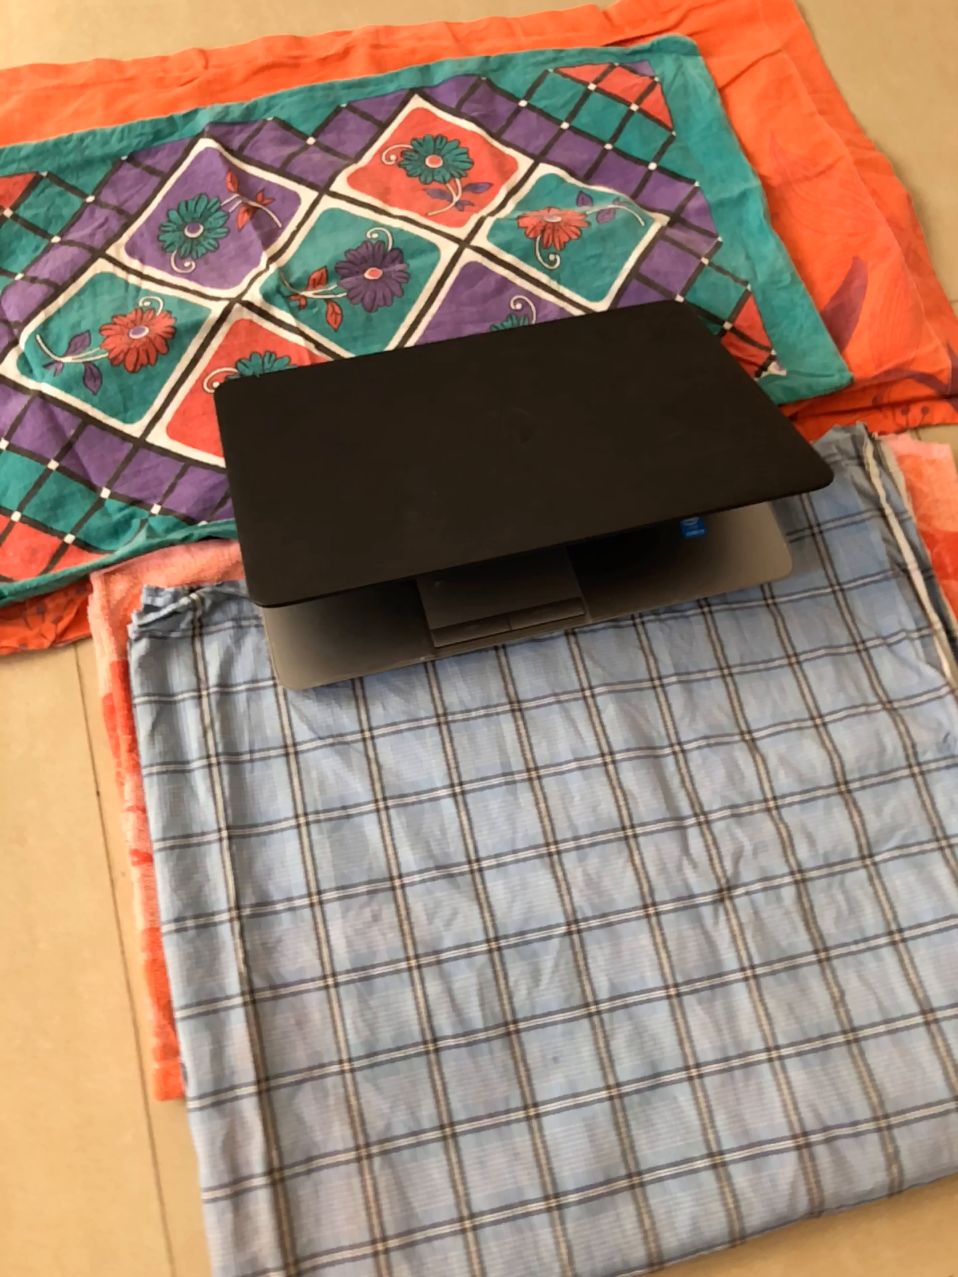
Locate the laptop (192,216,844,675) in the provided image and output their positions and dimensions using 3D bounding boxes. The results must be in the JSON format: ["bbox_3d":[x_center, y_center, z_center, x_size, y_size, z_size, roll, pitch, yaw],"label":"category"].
[{"bbox_3d":[0.014,-0.124,0.641,0.322,0.099,0.212,-13,65,-11],"label":"laptop"}]
